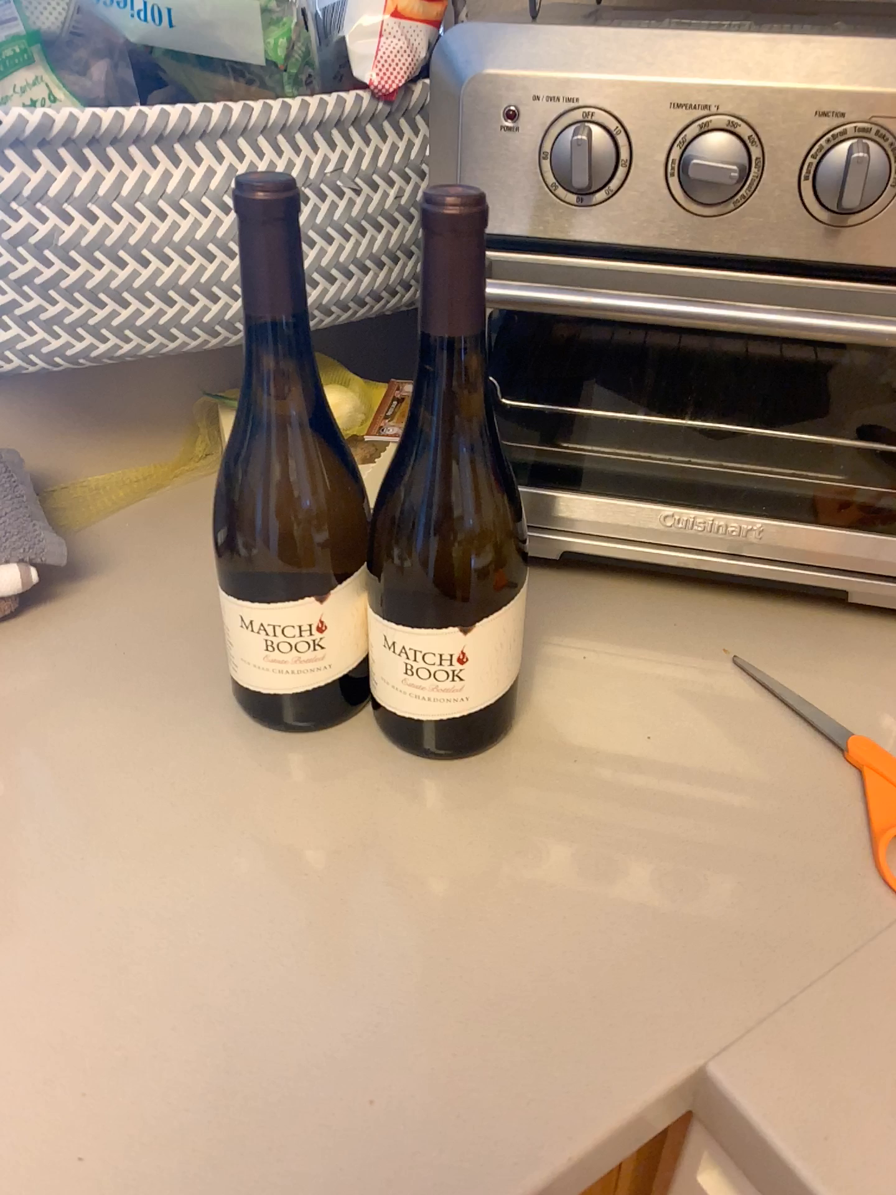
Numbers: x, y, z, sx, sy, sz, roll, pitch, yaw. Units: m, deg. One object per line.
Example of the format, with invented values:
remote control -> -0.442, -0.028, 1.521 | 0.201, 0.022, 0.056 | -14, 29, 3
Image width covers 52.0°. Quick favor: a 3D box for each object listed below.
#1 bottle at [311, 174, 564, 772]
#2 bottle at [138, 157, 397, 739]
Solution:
bottle -> -0.002, -0.051, 0.461 | 0.090, 0.278, 0.091 | 1, 34, 0
bottle -> -0.079, -0.066, 0.485 | 0.090, 0.288, 0.091 | 1, 34, 0
